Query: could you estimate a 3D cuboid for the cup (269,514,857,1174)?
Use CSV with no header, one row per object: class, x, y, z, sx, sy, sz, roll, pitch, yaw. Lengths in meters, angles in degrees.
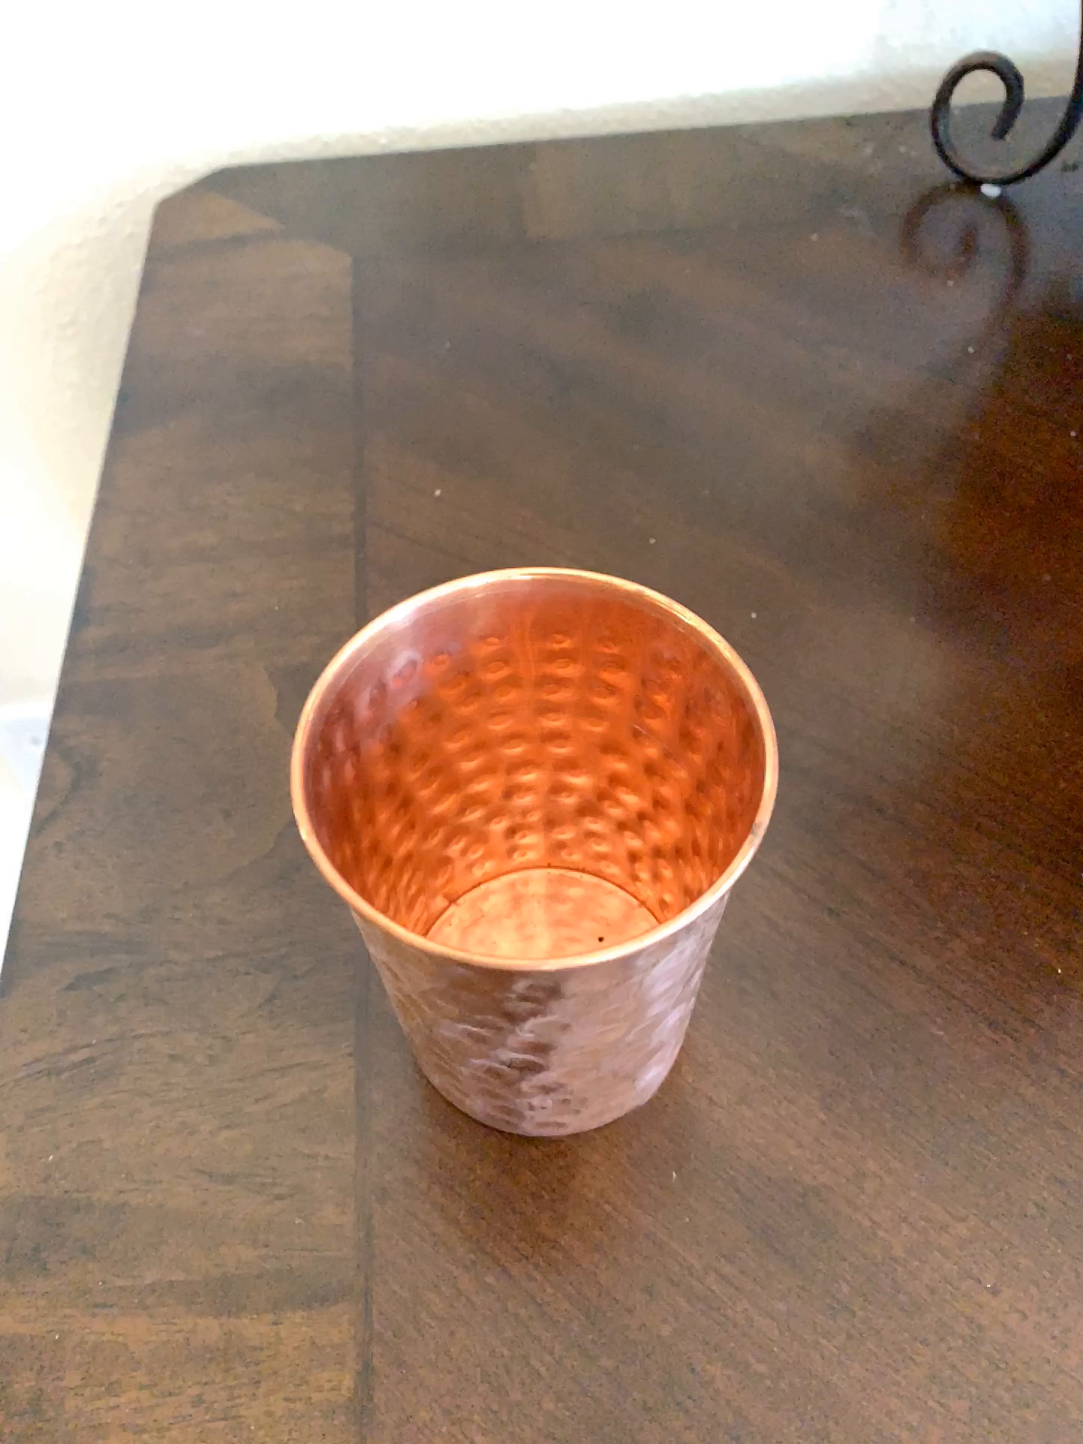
cup,-0.001,0.023,0.193,0.070,0.083,0.066,0,52,0
